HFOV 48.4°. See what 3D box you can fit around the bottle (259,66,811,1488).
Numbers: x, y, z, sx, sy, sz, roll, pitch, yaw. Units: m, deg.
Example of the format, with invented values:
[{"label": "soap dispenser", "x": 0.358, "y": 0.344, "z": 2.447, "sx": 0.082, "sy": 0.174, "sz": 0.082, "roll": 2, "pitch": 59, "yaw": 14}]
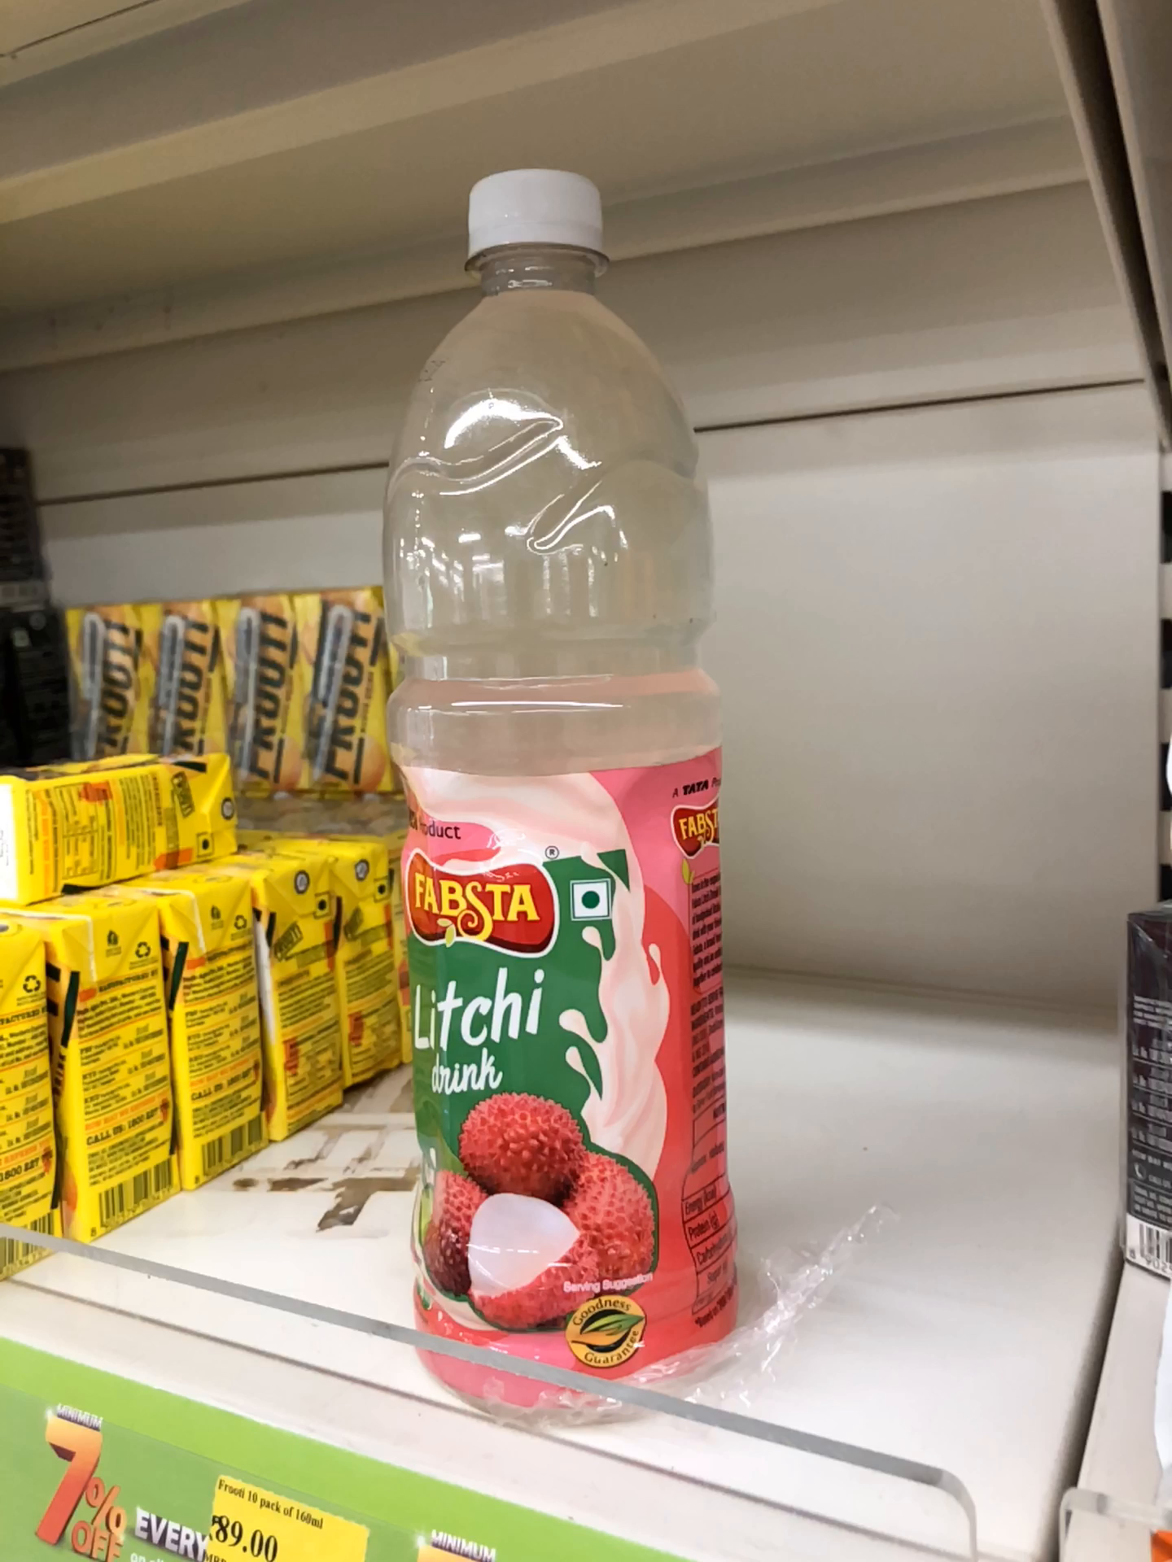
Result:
[{"label": "bottle", "x": -0.007, "y": 0.002, "z": 0.296, "sx": 0.080, "sy": 0.269, "sz": 0.070, "roll": 3, "pitch": 11, "yaw": 39}]
